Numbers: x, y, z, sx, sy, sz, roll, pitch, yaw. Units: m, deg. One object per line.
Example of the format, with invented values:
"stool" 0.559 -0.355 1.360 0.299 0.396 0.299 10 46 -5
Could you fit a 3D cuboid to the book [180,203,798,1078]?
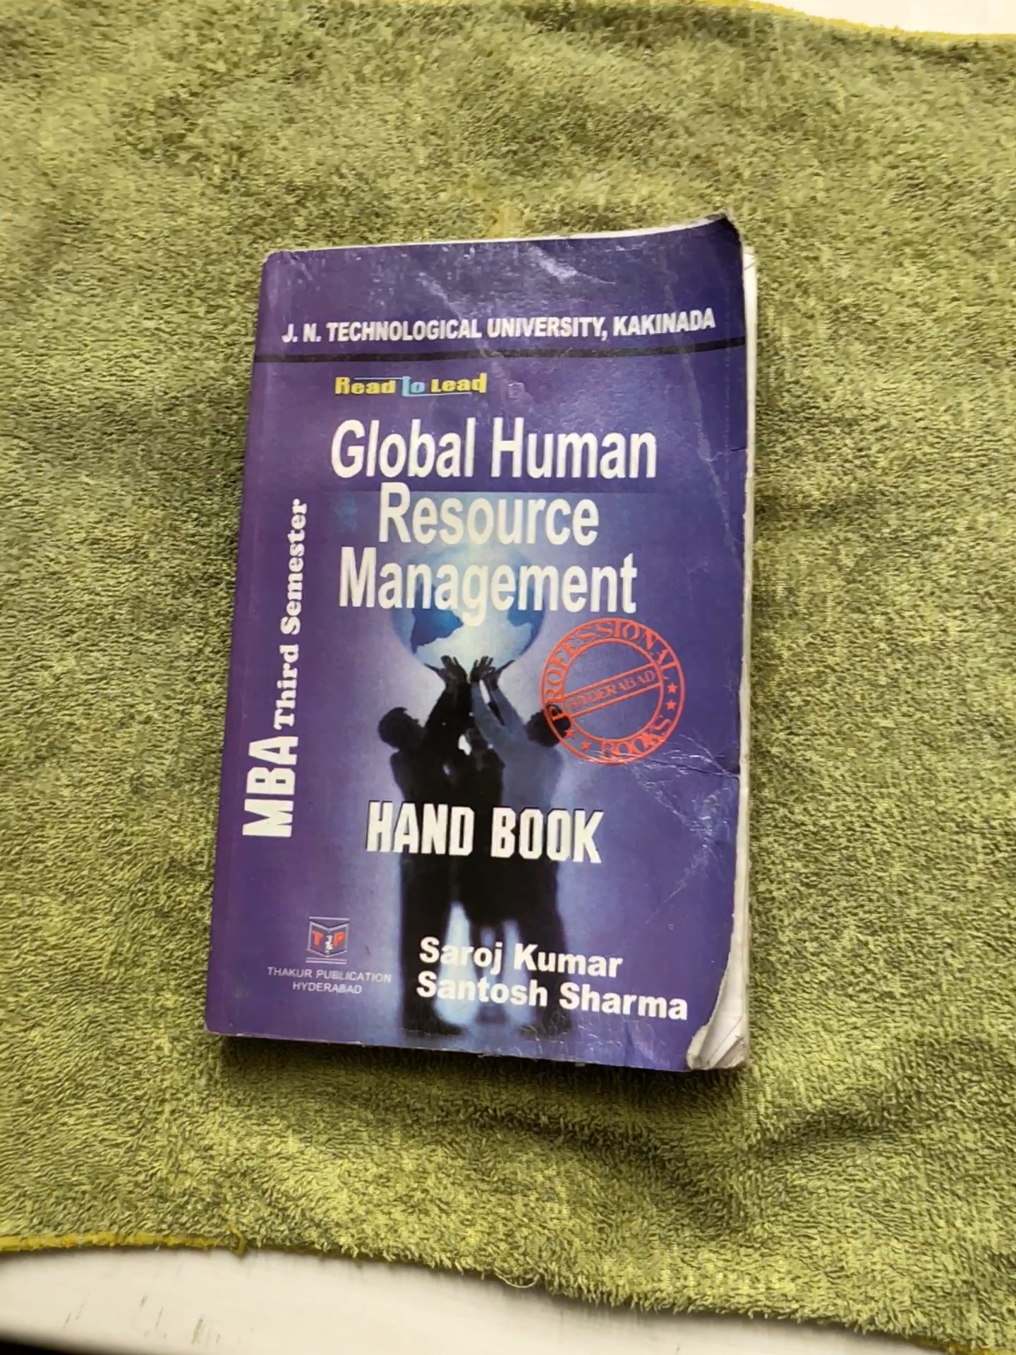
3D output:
"book" -0.001 -0.012 0.287 0.140 0.040 0.200 1 83 9
